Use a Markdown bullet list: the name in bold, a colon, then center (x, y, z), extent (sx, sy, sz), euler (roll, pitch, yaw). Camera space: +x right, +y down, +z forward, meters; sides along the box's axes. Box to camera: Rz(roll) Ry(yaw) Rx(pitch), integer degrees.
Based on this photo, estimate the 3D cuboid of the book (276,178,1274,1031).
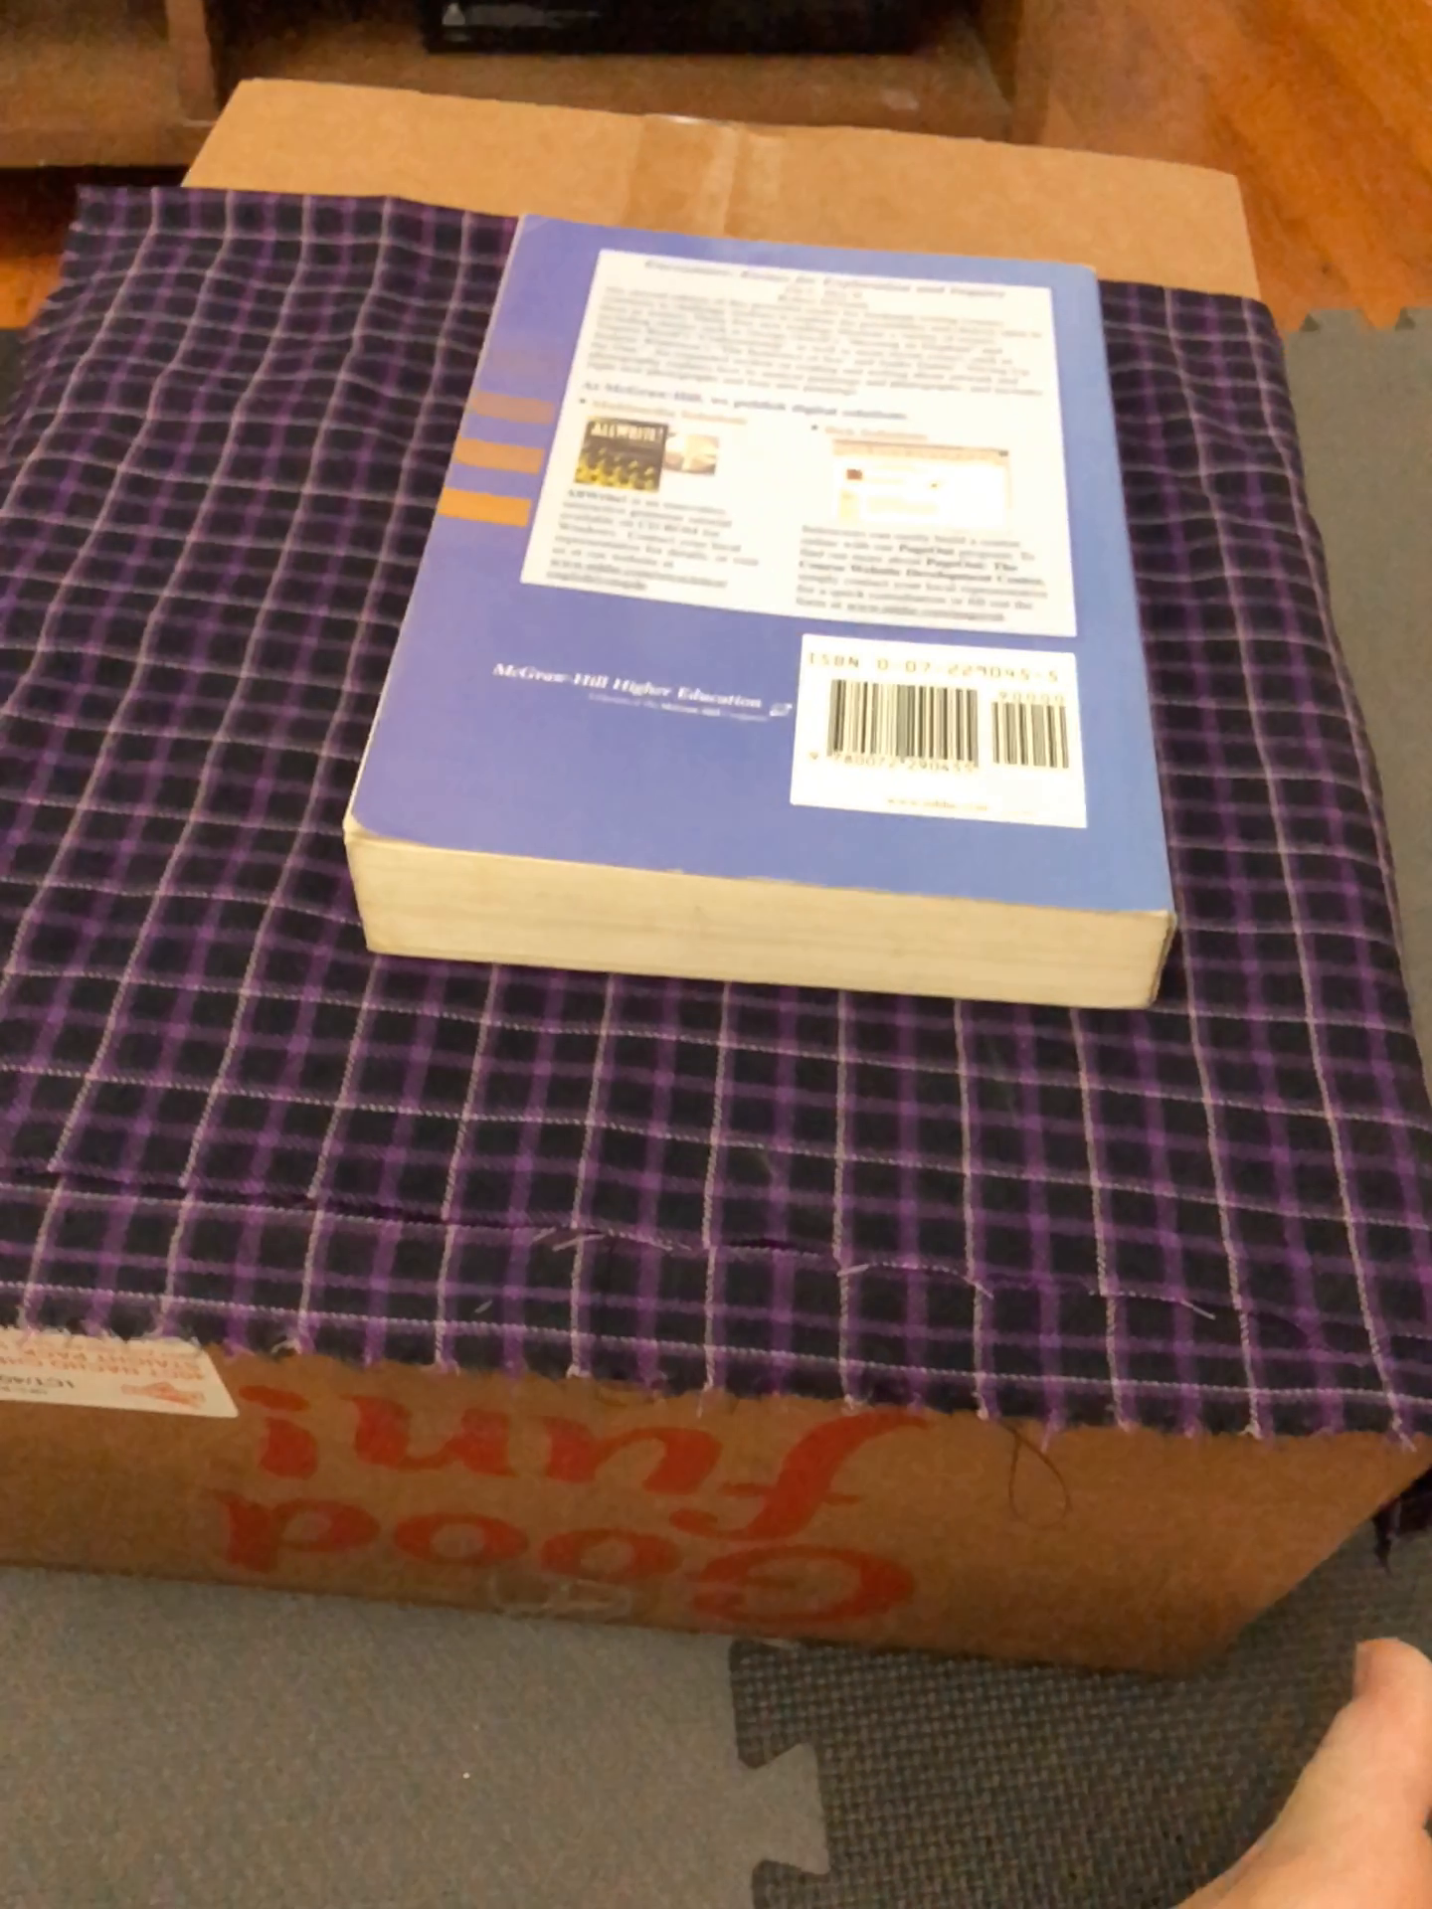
- **book**: center (0.016, -0.098, 0.376), extent (0.180, 0.040, 0.241), euler (4, 52, 0)
